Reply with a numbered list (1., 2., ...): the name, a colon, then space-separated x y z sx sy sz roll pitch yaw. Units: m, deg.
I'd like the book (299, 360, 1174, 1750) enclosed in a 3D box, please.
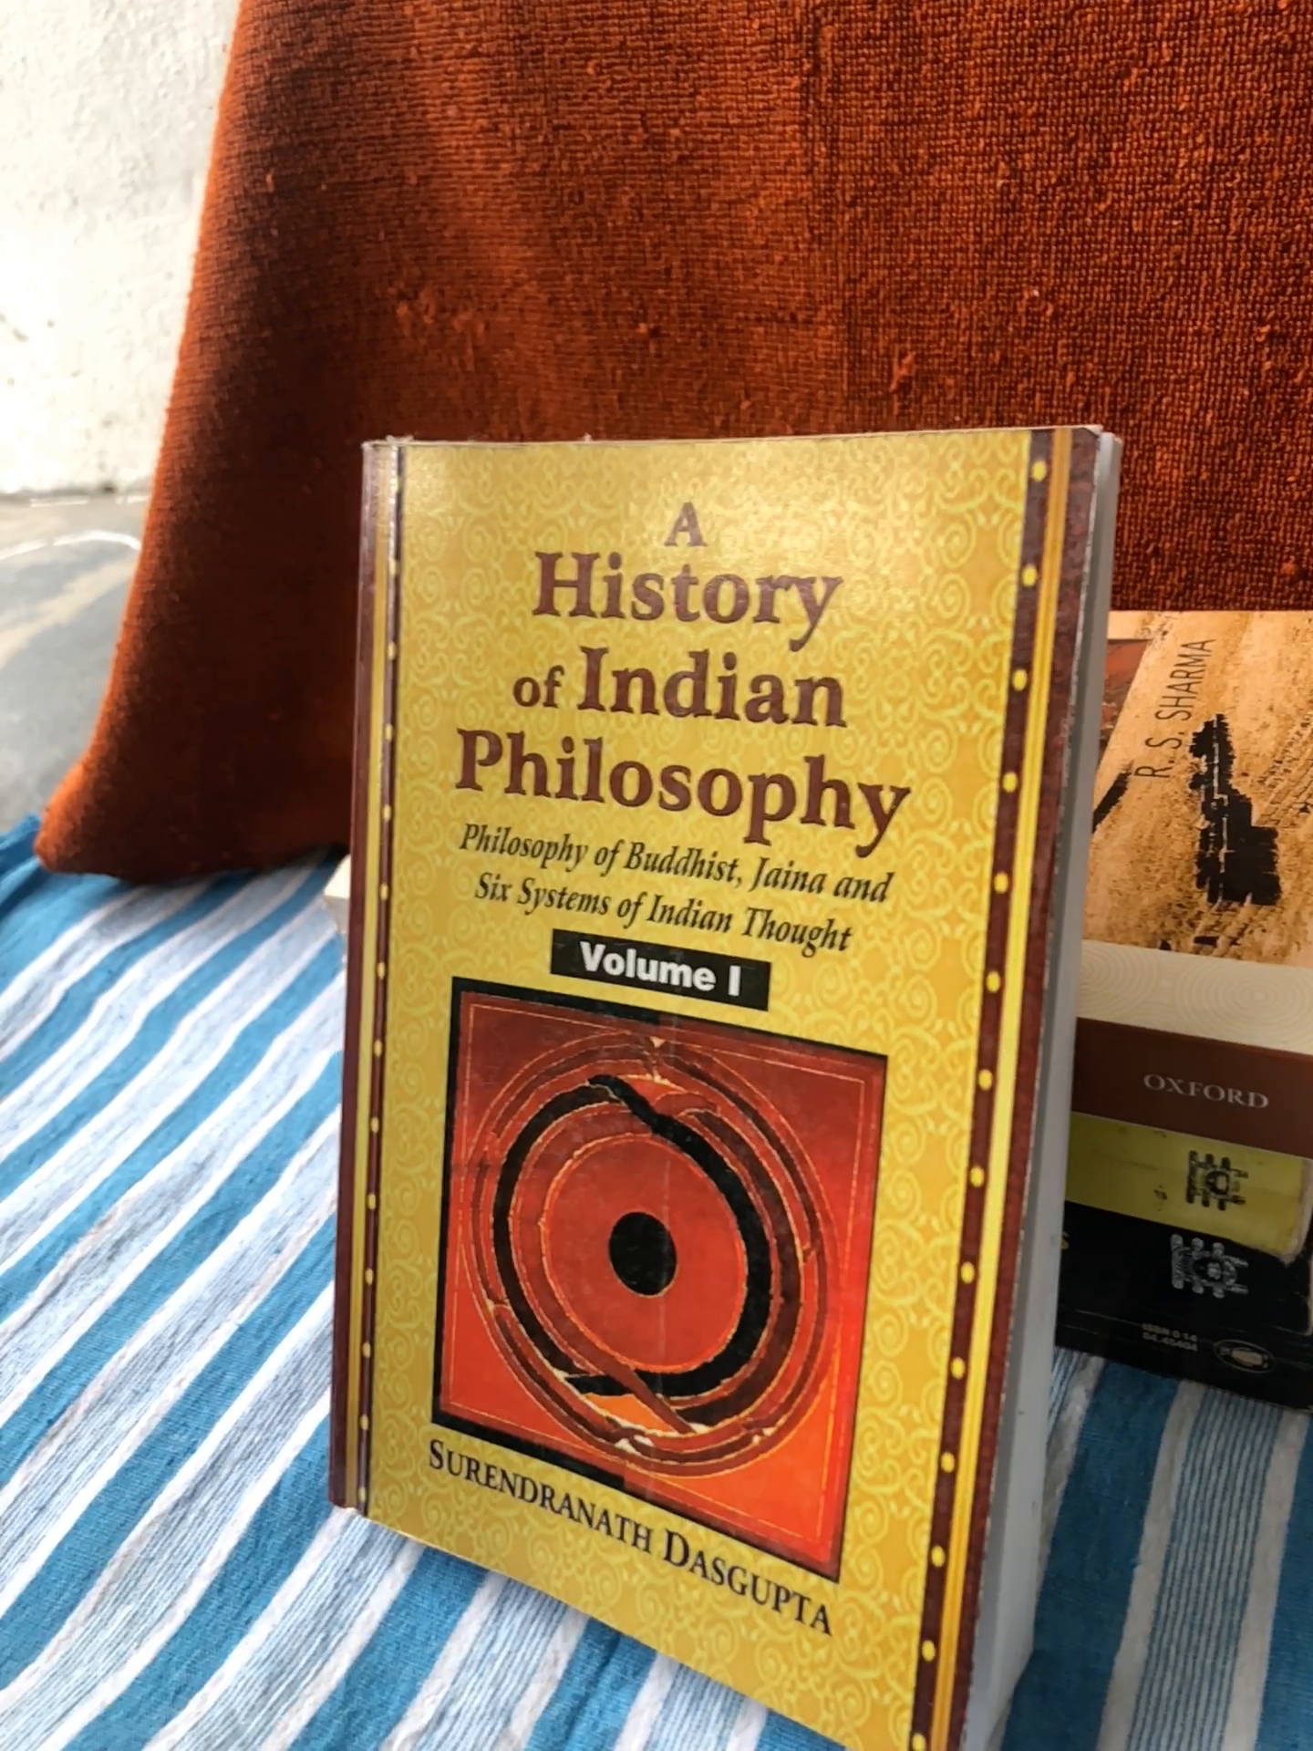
1. book: 0.006 0.027 0.269 0.141 0.216 0.048 7 7 32
